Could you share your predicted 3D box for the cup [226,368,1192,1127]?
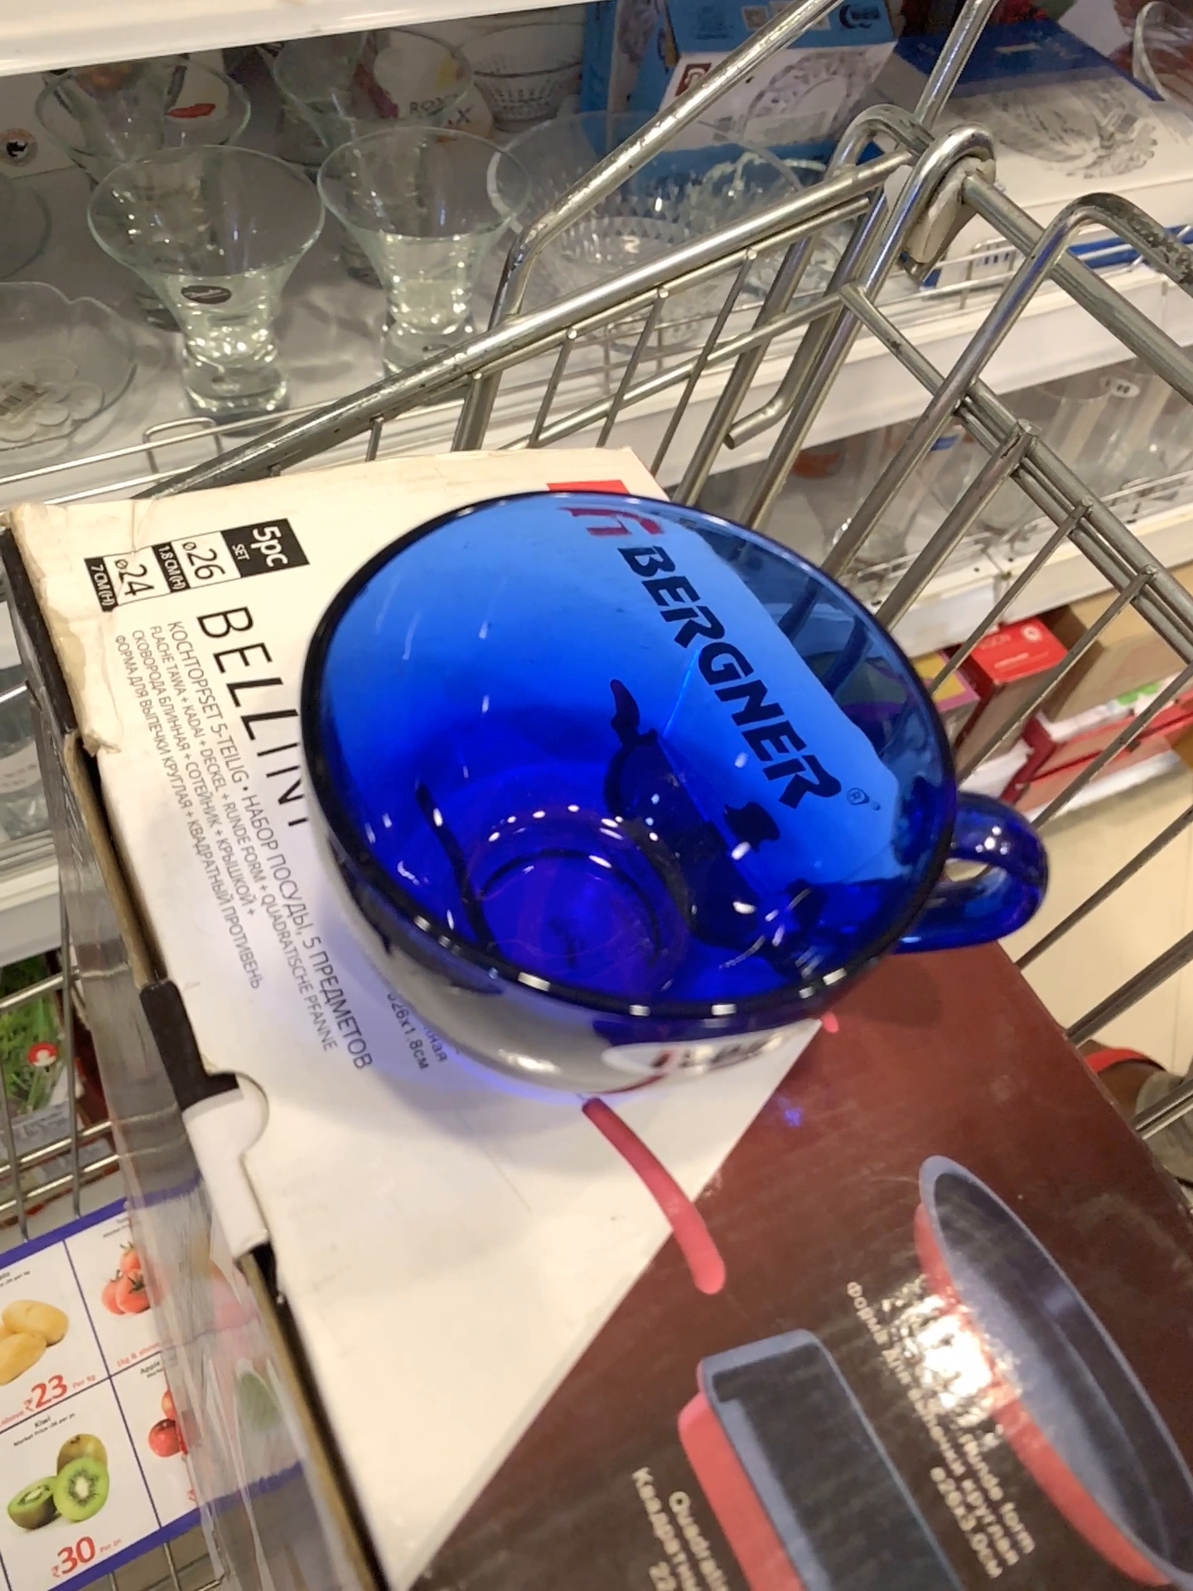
[{"bbox_3d":[0.018,-0.006,0.165,0.110,0.050,0.080,4,56,-4],"label":"cup"}]
